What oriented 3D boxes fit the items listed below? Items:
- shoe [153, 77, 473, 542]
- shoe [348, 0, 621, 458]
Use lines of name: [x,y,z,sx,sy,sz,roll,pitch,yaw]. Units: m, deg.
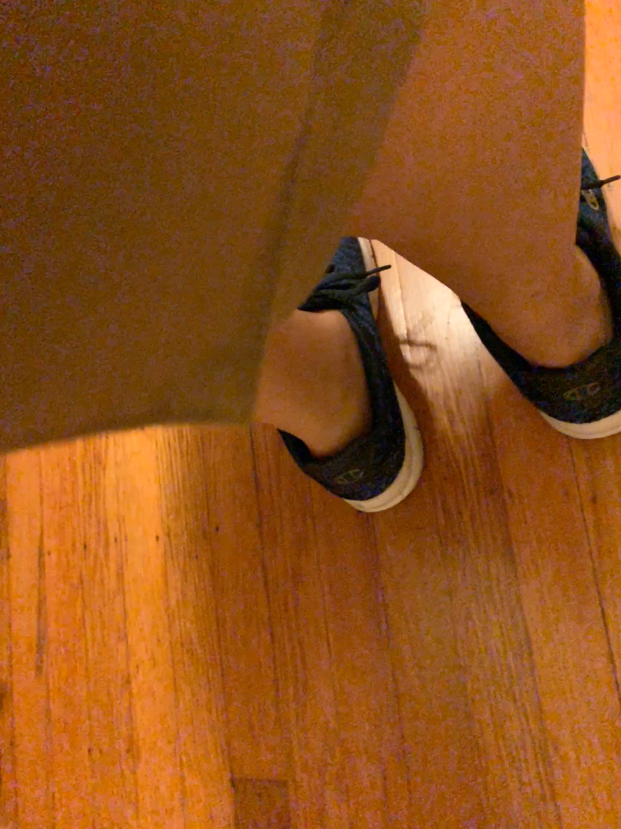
shoe: [0.004,-0.065,0.487,0.116,0.149,0.290,-23,74,21]
shoe: [0.146,-0.128,0.417,0.118,0.129,0.280,-25,73,20]
